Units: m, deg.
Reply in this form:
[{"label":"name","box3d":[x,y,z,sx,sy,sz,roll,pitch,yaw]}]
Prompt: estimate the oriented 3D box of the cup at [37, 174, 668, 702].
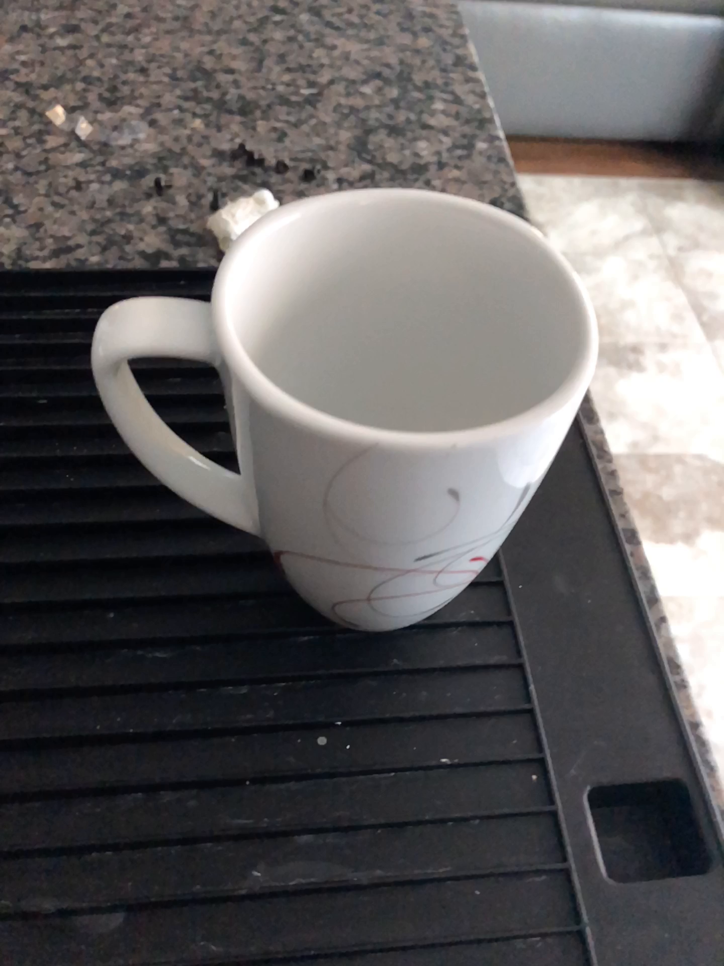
[{"label":"cup","box3d":[-0.008,-0.009,0.216,0.116,0.105,0.088,-2,52,-7]}]
